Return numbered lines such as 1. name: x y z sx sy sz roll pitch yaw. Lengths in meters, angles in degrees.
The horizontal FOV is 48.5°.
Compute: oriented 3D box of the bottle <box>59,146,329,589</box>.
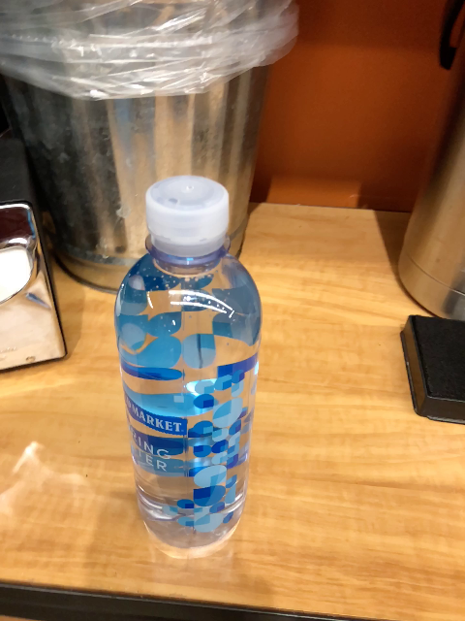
1. bottle: -0.018 0.036 0.250 0.070 0.199 0.070 2 37 -1
